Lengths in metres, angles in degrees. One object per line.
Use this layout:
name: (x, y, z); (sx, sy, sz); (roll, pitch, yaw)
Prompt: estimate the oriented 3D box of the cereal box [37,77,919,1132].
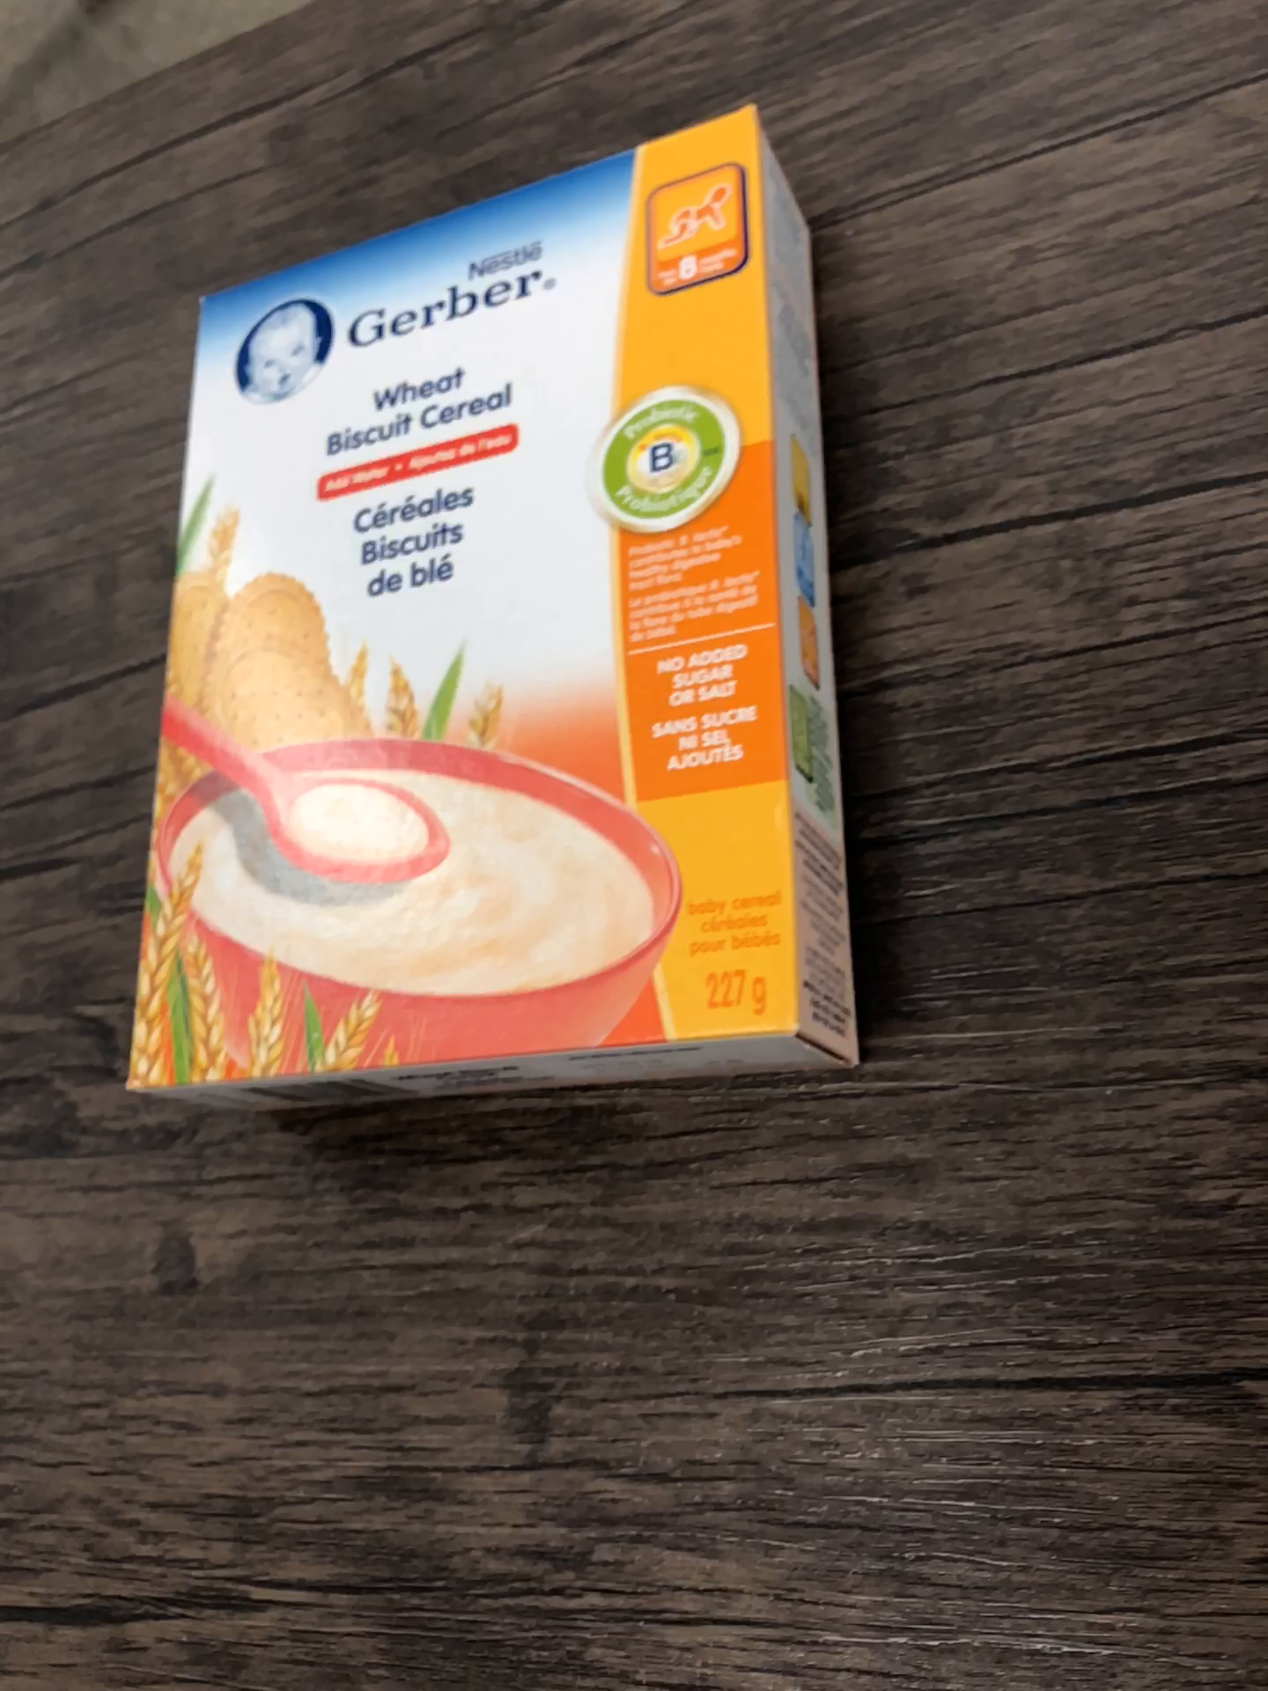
cereal box: (-0.033, -0.040, 0.285); (0.160, 0.040, 0.180); (-8, 71, 23)
